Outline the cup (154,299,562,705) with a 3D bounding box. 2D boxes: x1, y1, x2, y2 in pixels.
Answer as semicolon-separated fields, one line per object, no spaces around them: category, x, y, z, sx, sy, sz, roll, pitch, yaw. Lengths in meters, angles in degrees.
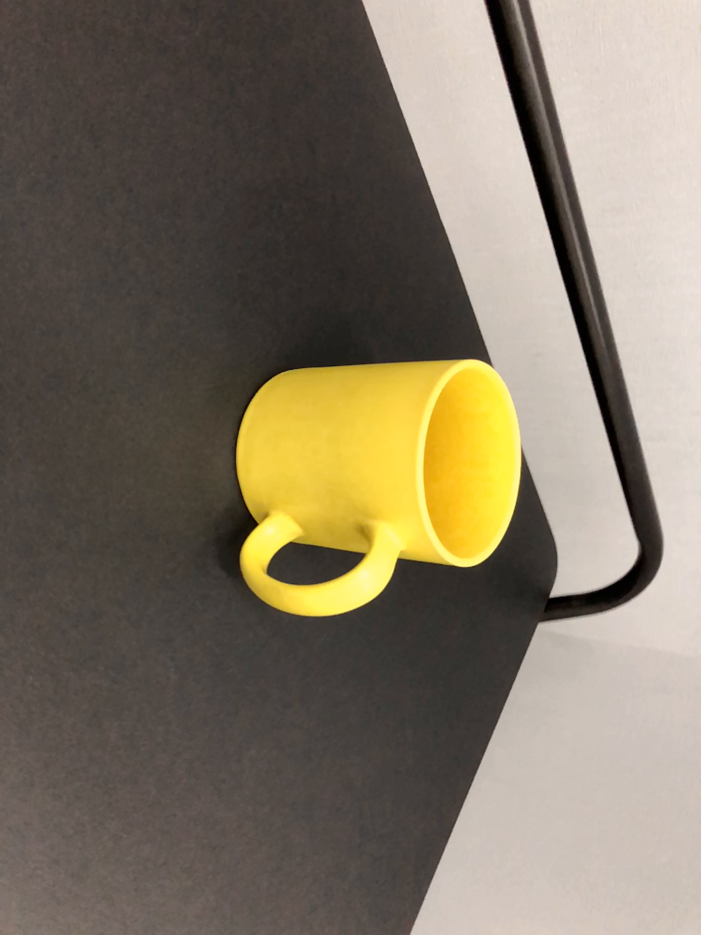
cup;0.011;0.011;0.324;0.090;0.101;0.126;54;52;-40
